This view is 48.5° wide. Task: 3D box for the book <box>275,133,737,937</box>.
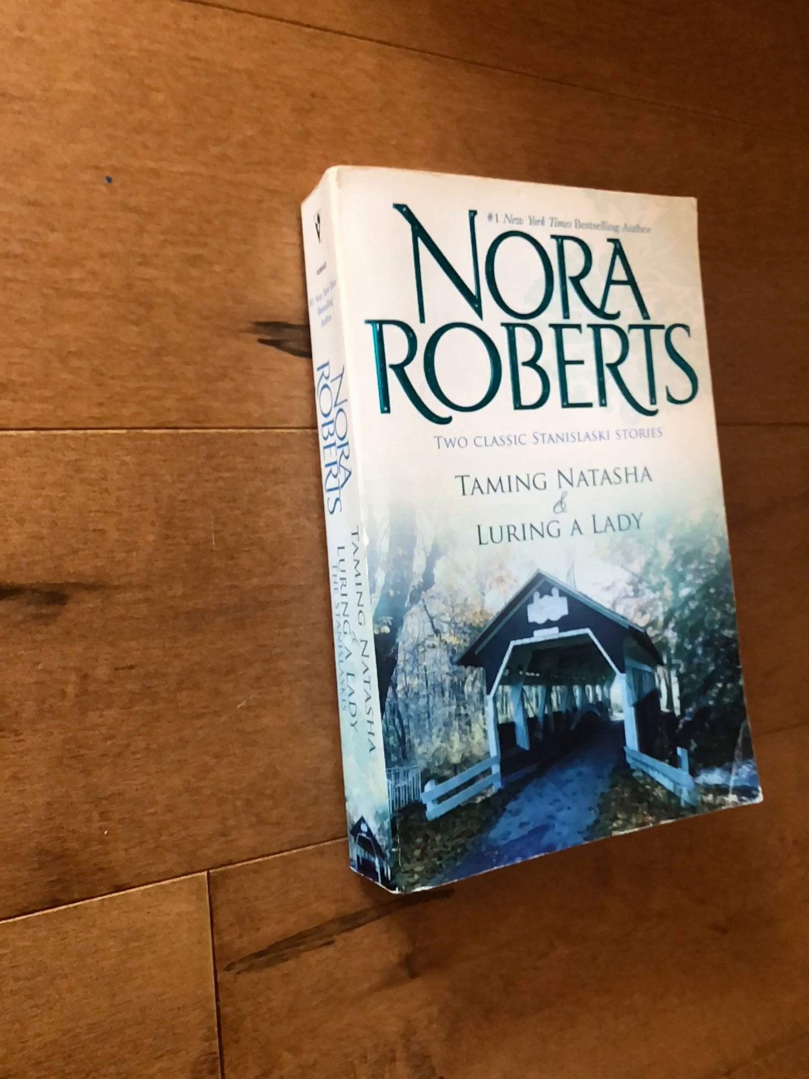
[{"bbox_3d":[0.036,-0.006,0.293,0.130,0.040,0.220,-5,90,-28],"label":"book"}]
